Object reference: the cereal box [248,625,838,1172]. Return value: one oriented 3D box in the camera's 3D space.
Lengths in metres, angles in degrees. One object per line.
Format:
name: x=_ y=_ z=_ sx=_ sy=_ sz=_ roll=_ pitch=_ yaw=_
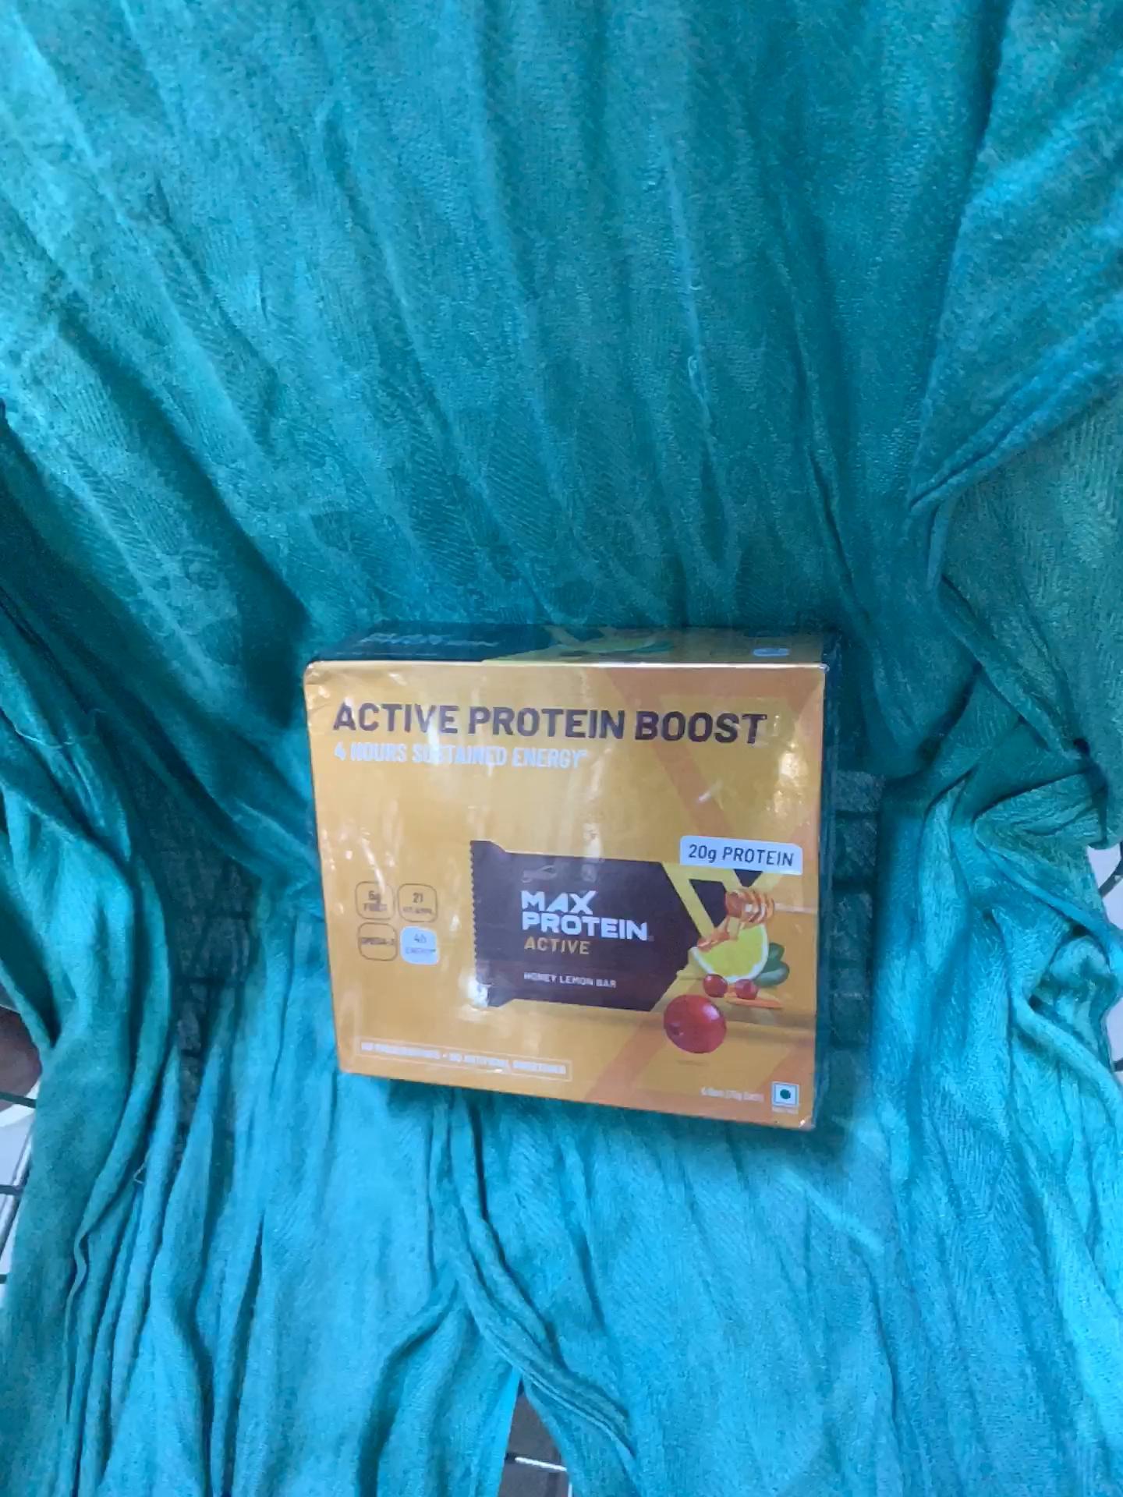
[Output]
cereal box: x=0.000 y=0.036 z=0.360 sx=0.160 sy=0.080 sz=0.140 roll=2 pitch=102 yaw=16
